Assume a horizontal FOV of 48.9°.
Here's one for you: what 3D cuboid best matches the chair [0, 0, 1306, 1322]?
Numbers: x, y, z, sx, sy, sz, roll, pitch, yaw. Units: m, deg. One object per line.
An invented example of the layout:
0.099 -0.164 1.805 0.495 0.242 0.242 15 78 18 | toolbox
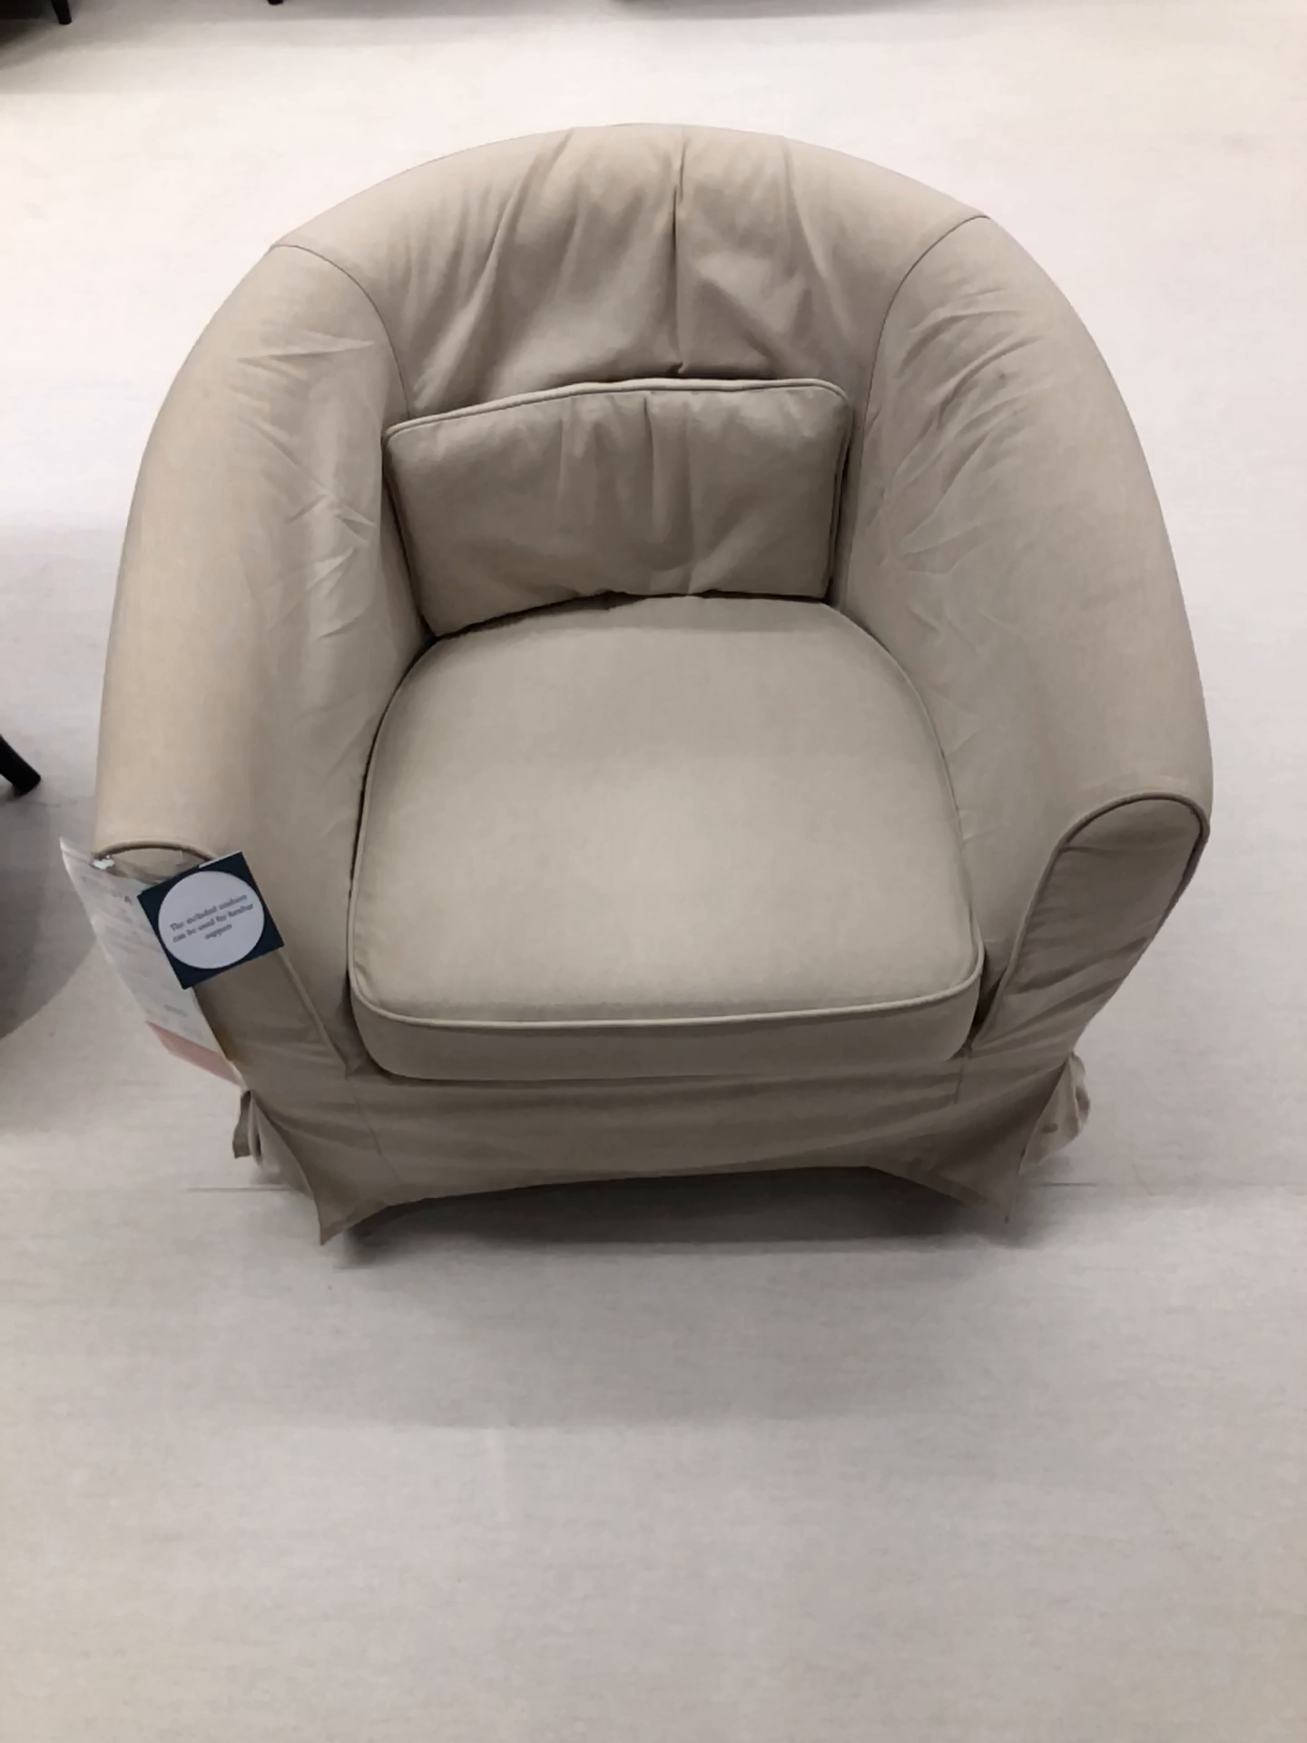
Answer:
0.000 -0.129 1.177 0.860 0.806 0.704 -3 56 -1 | chair
